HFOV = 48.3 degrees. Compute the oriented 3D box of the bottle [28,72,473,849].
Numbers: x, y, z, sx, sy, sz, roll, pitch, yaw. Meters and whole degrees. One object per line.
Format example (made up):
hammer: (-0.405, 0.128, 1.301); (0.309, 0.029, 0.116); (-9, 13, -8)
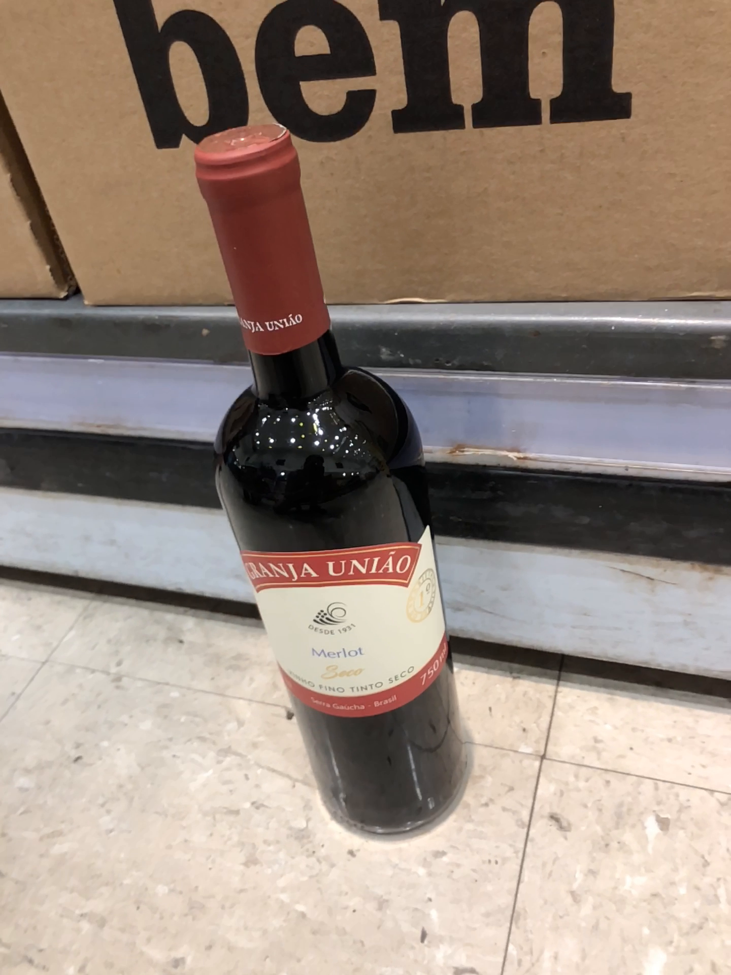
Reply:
bottle: (-0.012, 0.020, 0.308); (0.080, 0.298, 0.081); (-7, 38, 6)
